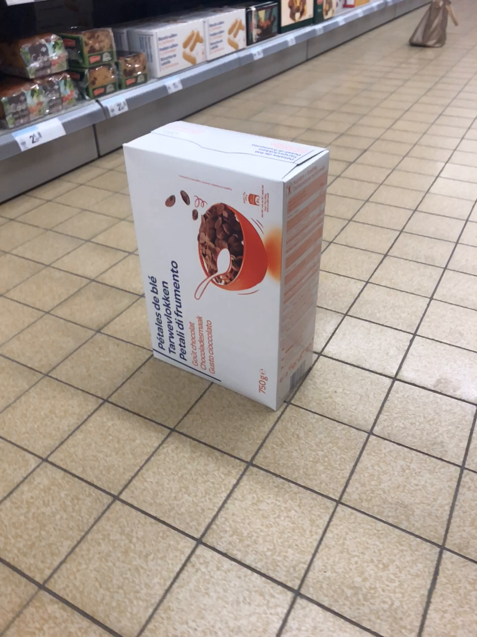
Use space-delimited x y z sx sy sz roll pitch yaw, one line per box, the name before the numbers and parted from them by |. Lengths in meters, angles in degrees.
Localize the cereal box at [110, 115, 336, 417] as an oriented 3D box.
cereal box | -0.014 -0.058 0.601 0.200 0.288 0.101 18 40 25
